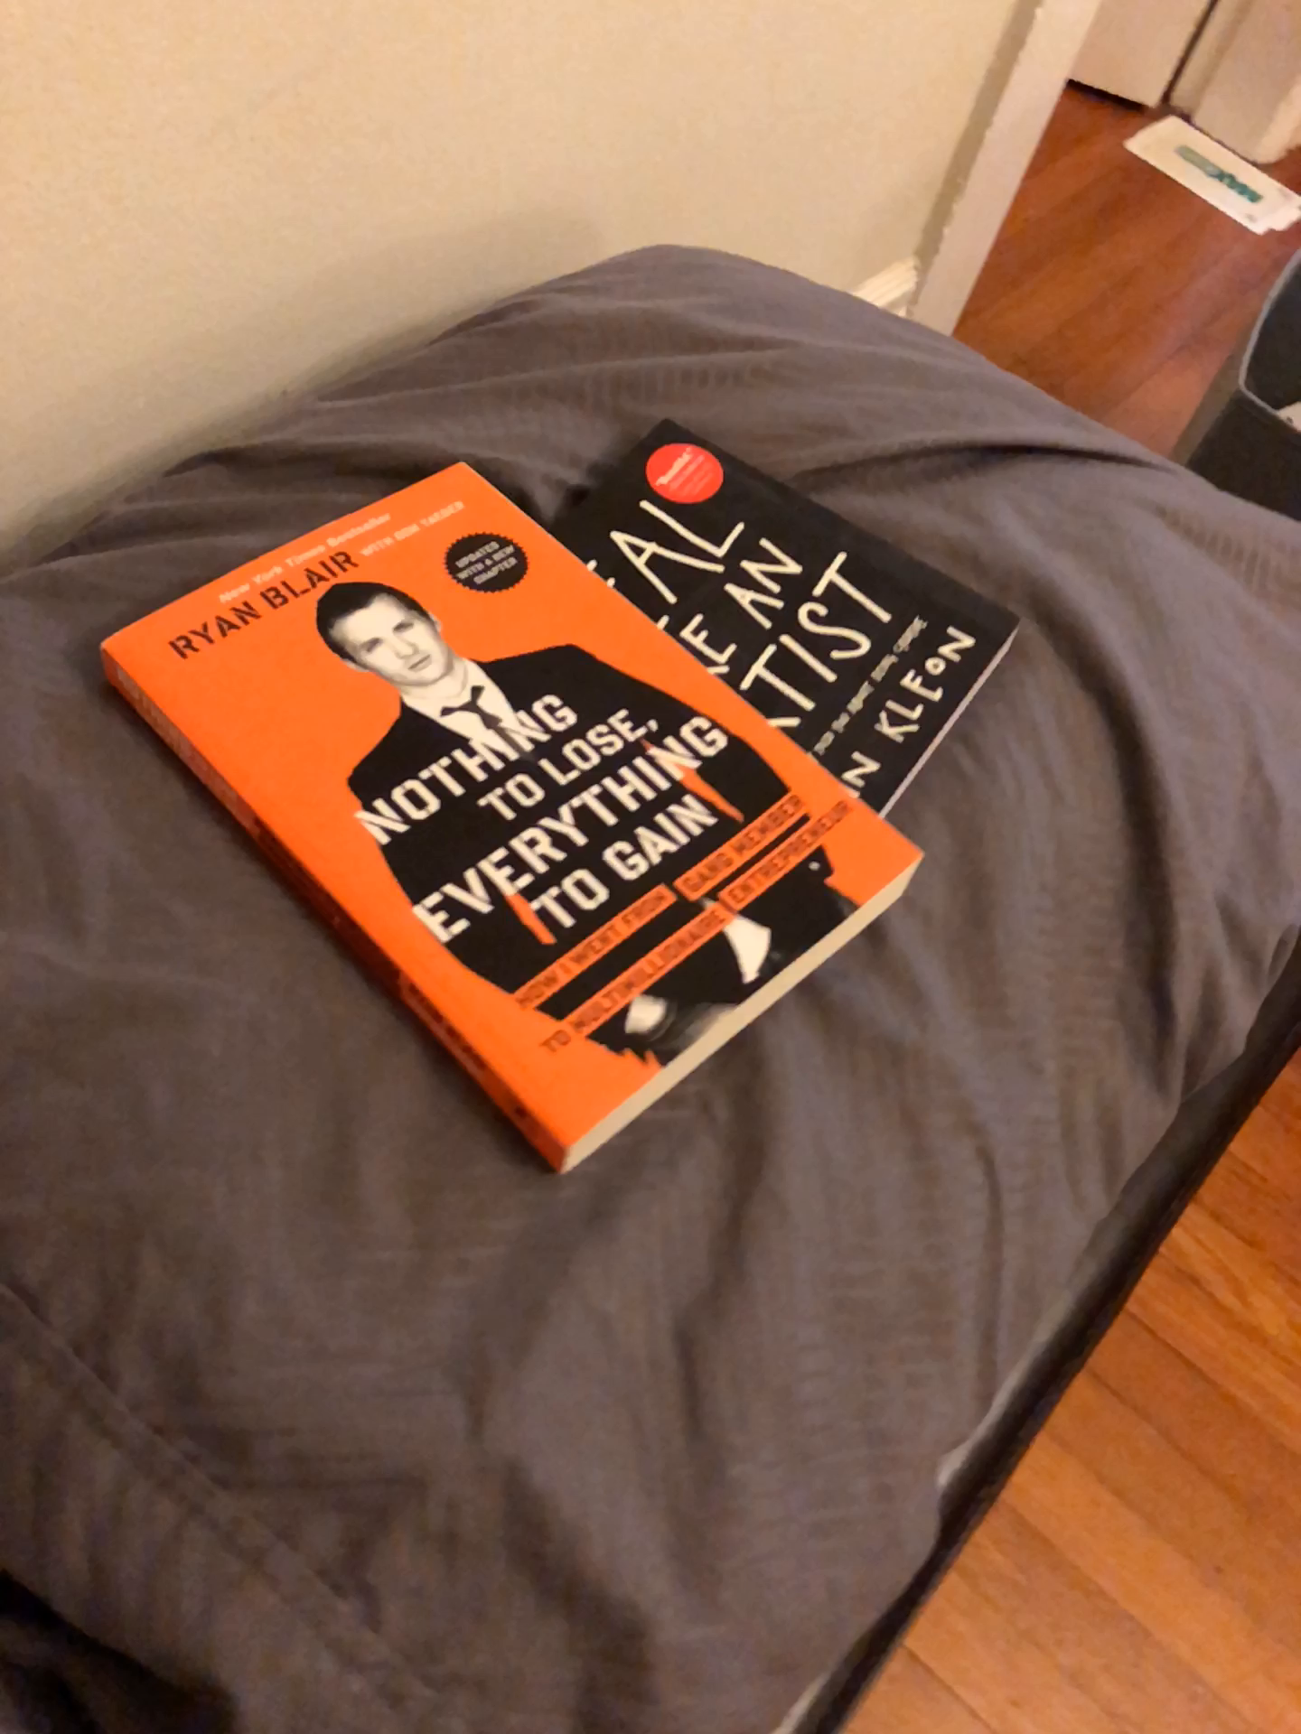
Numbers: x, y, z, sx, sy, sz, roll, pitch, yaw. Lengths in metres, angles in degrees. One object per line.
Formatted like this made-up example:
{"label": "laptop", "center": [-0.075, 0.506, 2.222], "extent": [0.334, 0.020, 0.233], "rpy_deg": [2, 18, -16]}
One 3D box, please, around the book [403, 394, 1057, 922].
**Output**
{"label": "book", "center": [0.031, -0.081, 0.486], "extent": [0.170, 0.020, 0.151], "rpy_deg": [31, 56, 12]}

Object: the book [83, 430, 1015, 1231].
{"label": "book", "center": [-0.030, -0.031, 0.437], "extent": [0.171, 0.020, 0.230], "rpy_deg": [-36, 70, -30]}
